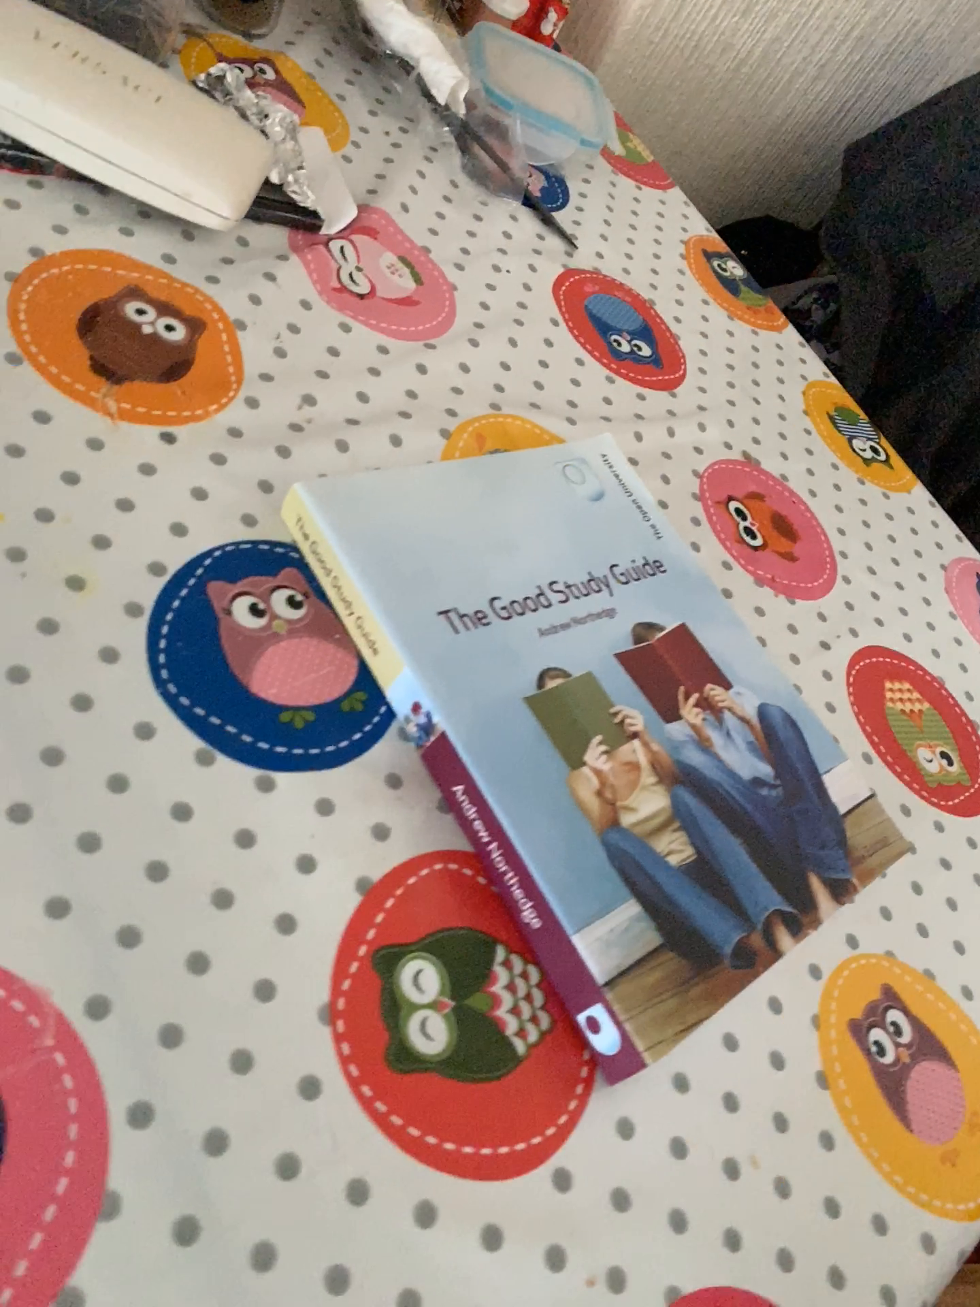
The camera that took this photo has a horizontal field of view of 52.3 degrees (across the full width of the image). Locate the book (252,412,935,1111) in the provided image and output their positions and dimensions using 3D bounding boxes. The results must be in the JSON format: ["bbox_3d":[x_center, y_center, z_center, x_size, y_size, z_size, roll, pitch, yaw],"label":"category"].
[{"bbox_3d":[0.052,0.013,0.427,0.211,0.030,0.261,-17,69,-41],"label":"book"}]
